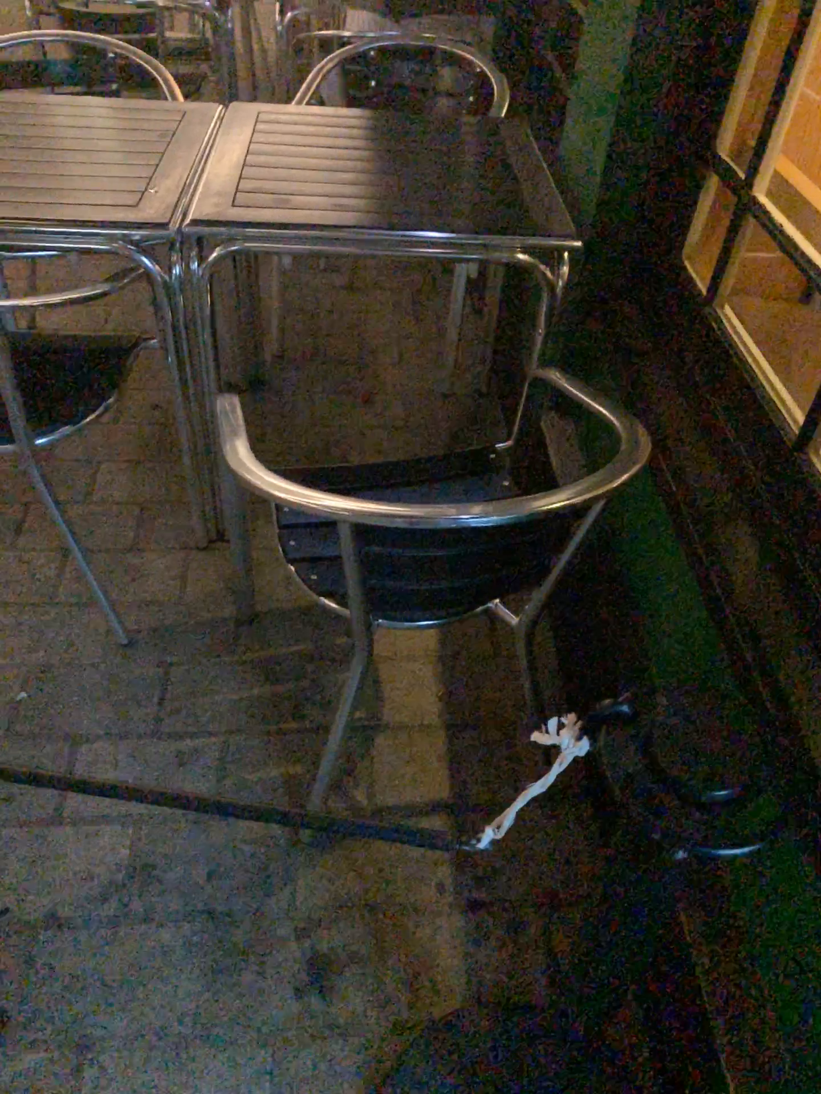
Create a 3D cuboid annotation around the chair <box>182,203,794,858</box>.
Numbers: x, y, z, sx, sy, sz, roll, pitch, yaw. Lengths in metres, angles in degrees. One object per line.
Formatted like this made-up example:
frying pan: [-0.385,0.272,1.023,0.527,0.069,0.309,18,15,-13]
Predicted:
chair: [0.023,-0.045,1.400,0.661,0.782,0.656,-7,44,-14]
